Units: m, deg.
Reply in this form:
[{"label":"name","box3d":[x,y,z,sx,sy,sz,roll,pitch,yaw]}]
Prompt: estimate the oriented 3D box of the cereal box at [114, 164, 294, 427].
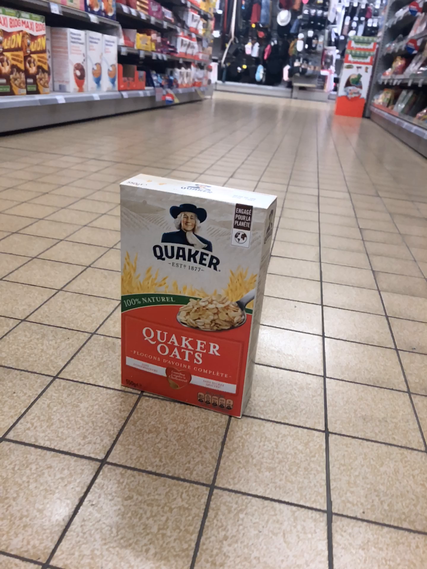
[{"label":"cereal box","box3d":[-0.018,0.012,0.463,0.150,0.229,0.050,13,24,15]}]
